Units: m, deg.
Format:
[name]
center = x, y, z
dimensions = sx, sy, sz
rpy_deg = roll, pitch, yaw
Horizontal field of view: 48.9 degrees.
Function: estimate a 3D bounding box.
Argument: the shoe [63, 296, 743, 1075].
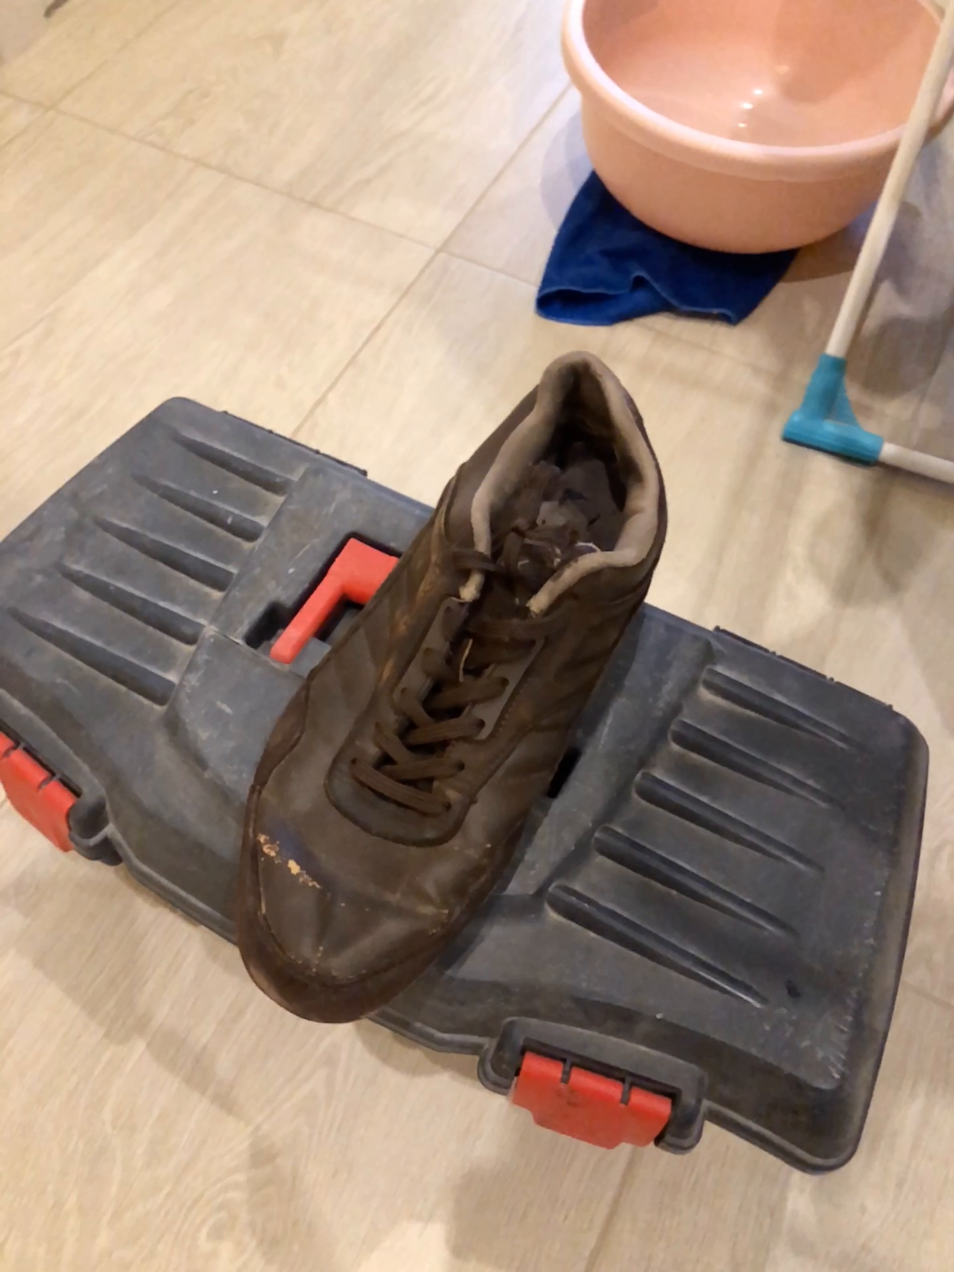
[shoe]
center = -0.011, 0.007, 0.418
dimensions = 0.110, 0.100, 0.281
rpy_deg = 27, 63, 14
